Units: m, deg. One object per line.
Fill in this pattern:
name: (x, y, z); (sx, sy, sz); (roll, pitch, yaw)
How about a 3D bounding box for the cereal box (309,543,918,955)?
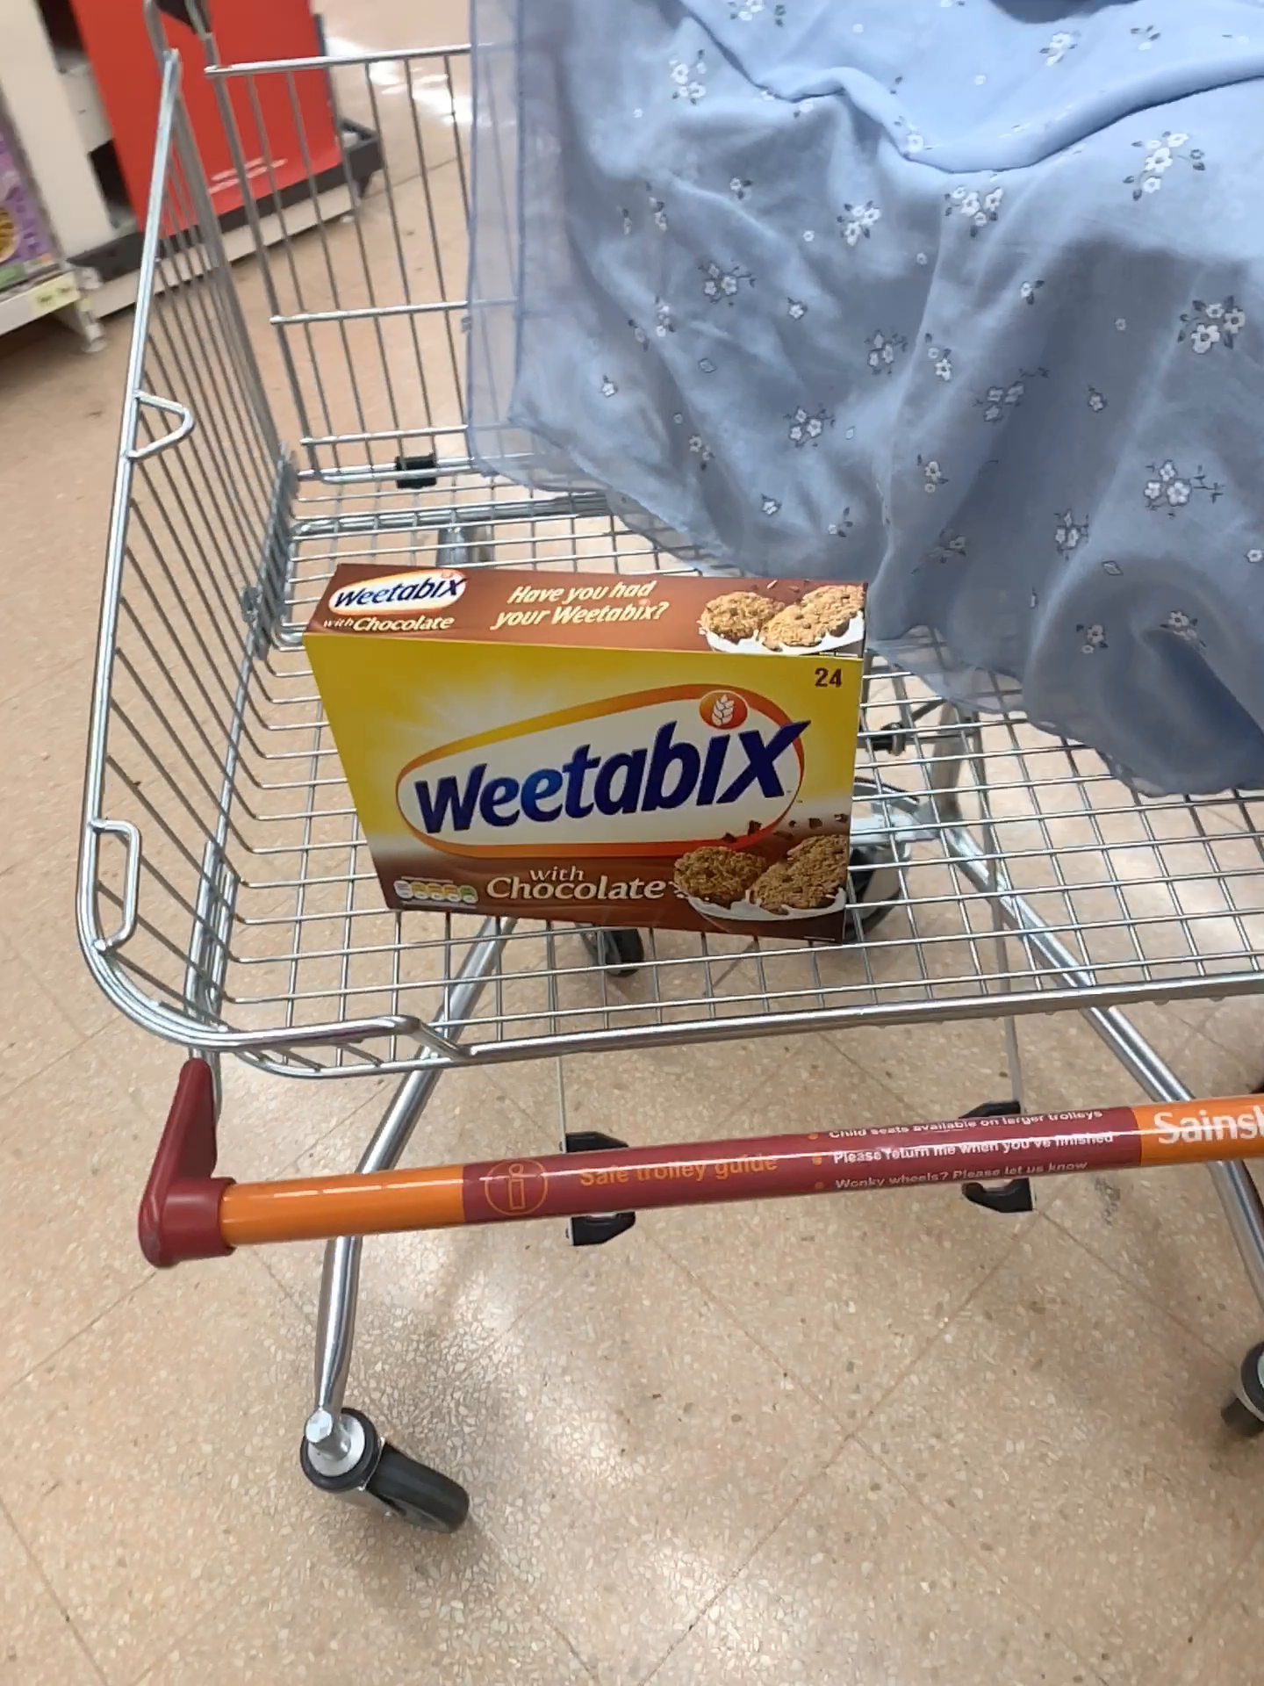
cereal box: (-0.004, -0.039, 0.613); (0.250, 0.188, 0.060); (5, 48, 7)
